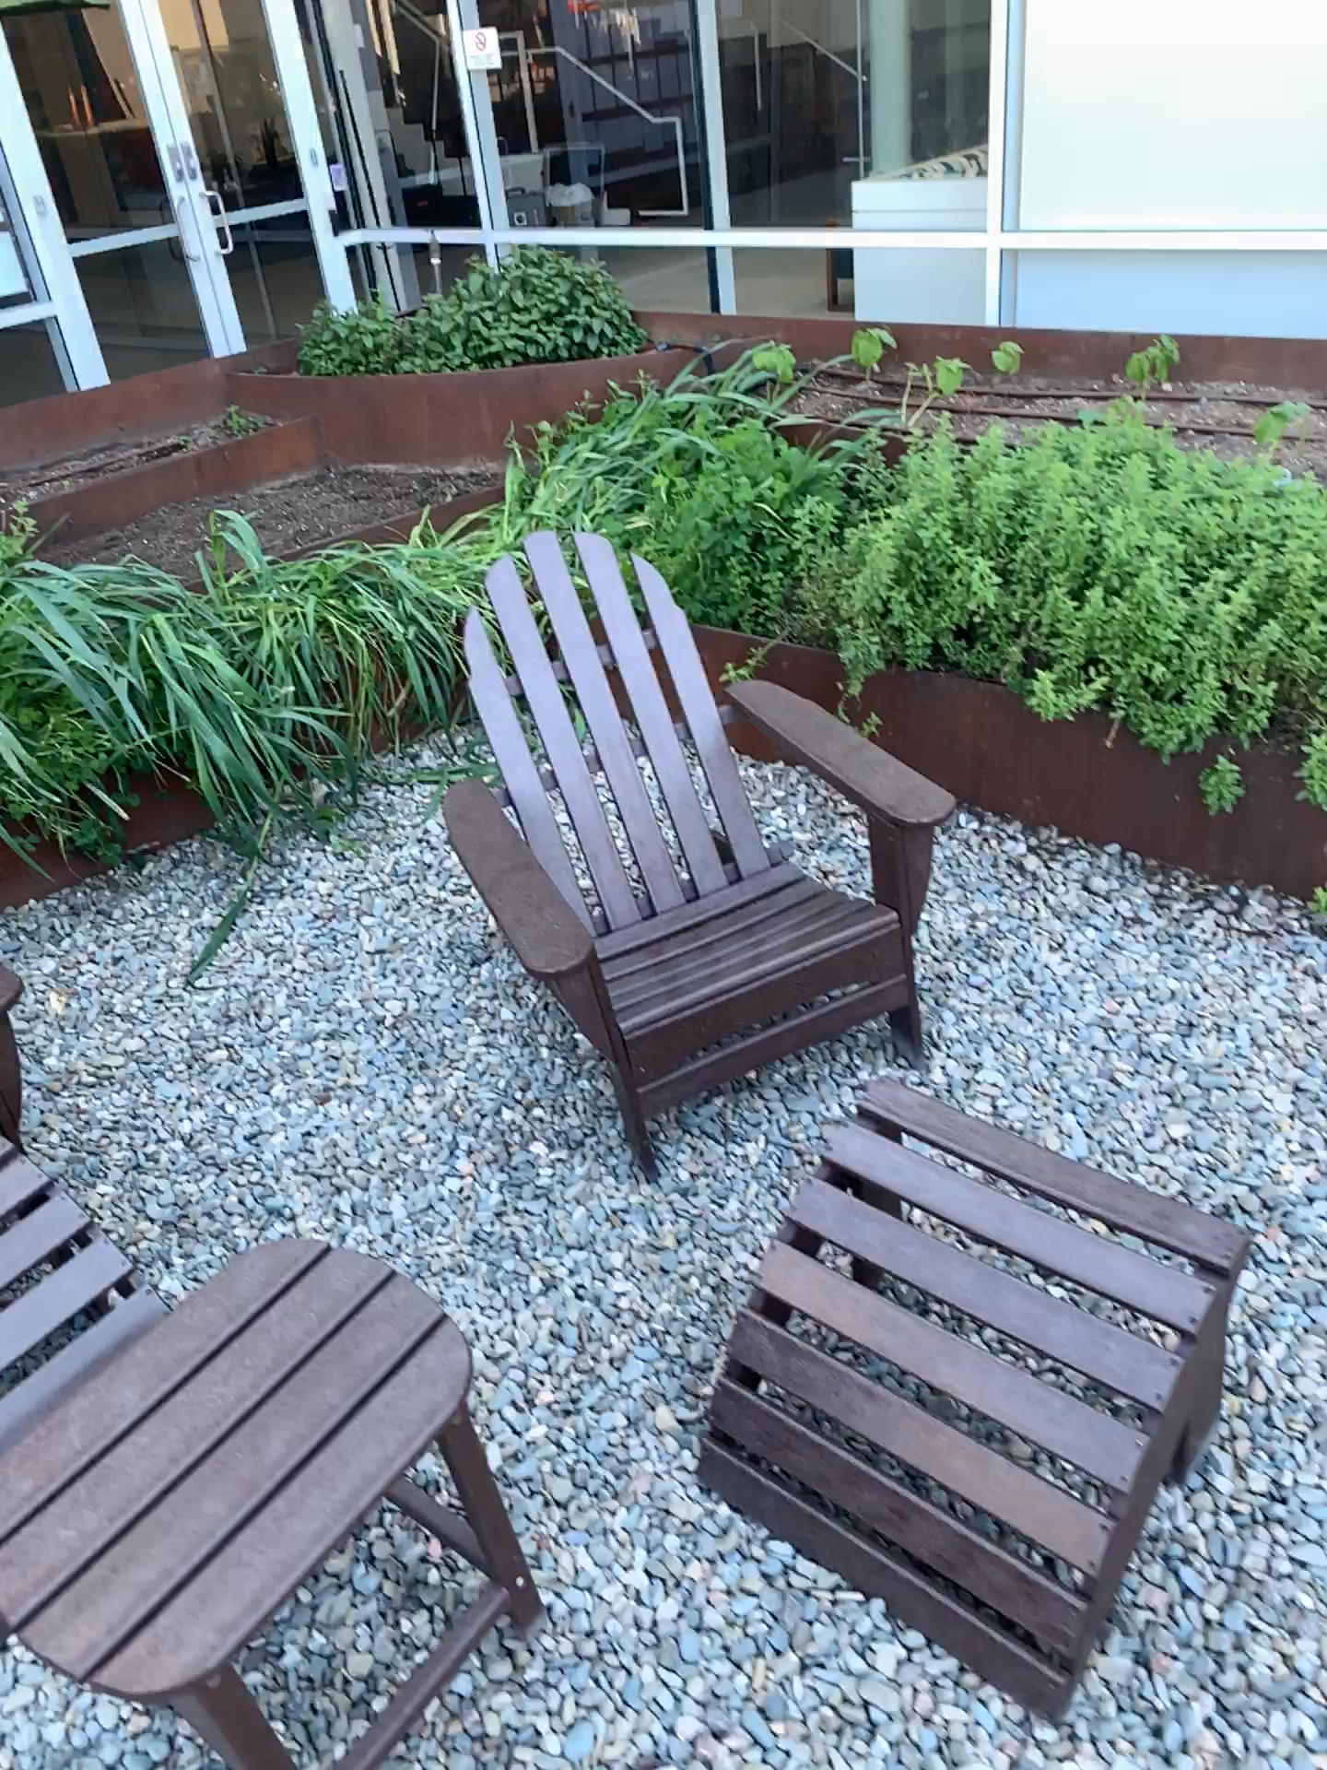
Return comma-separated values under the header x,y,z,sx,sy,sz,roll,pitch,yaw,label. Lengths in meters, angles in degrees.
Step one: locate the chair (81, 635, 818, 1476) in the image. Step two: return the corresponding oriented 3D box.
x,y,z,sx,sy,sz,roll,pitch,yaw,label
-0.360,0.256,2.577,1.000,0.994,1.006,-12,33,-8,chair
